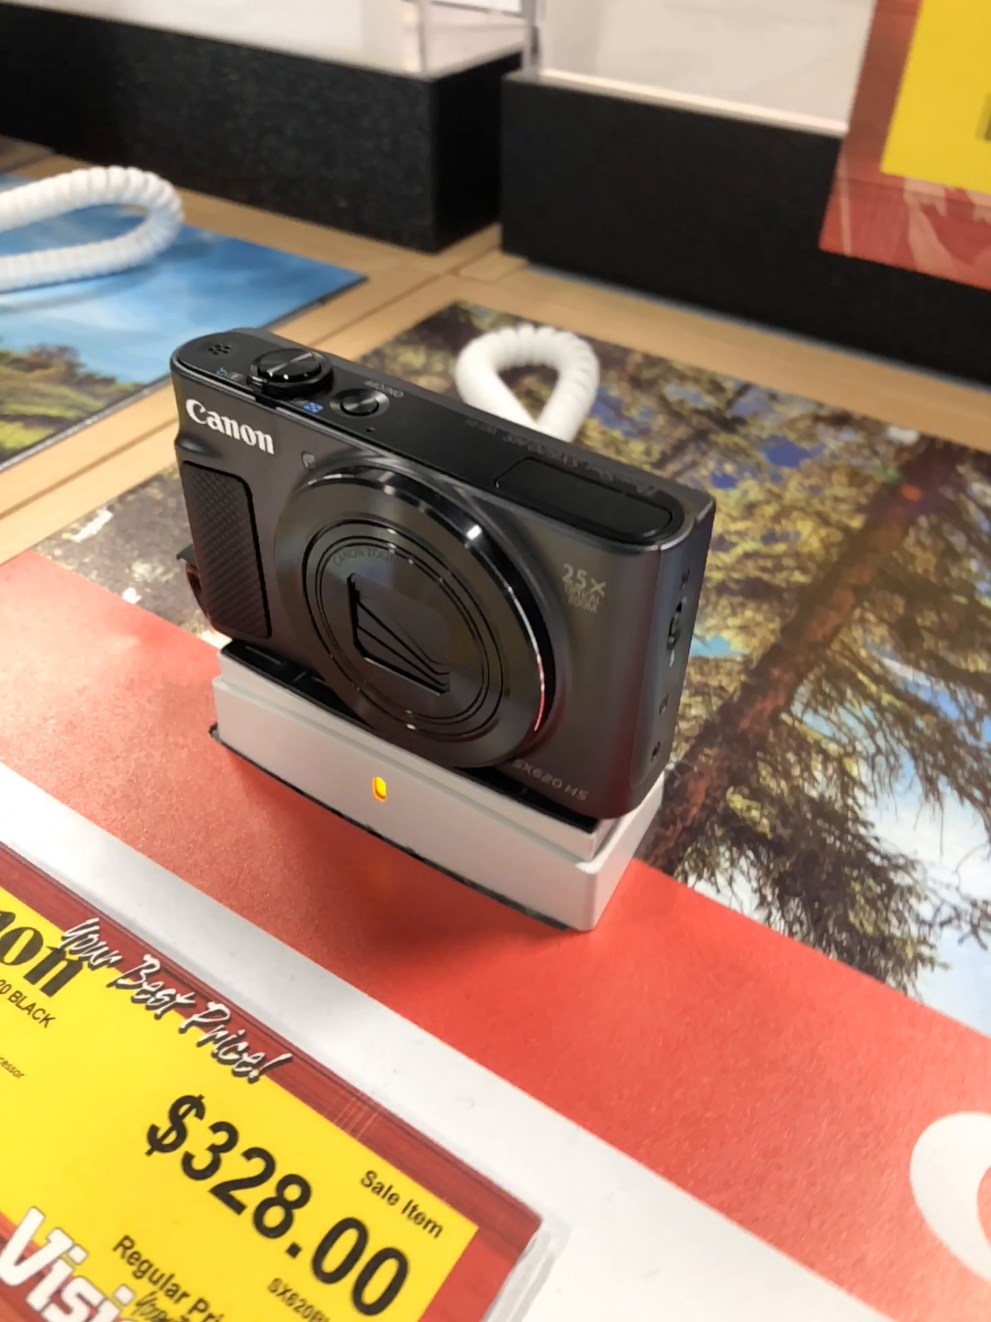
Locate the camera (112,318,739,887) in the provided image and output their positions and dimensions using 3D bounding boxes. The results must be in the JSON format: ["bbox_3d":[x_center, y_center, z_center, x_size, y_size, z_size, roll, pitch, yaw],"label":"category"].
[{"bbox_3d":[-0.015,-0.013,0.191,0.100,0.060,0.030,25,46,26],"label":"camera"}]
